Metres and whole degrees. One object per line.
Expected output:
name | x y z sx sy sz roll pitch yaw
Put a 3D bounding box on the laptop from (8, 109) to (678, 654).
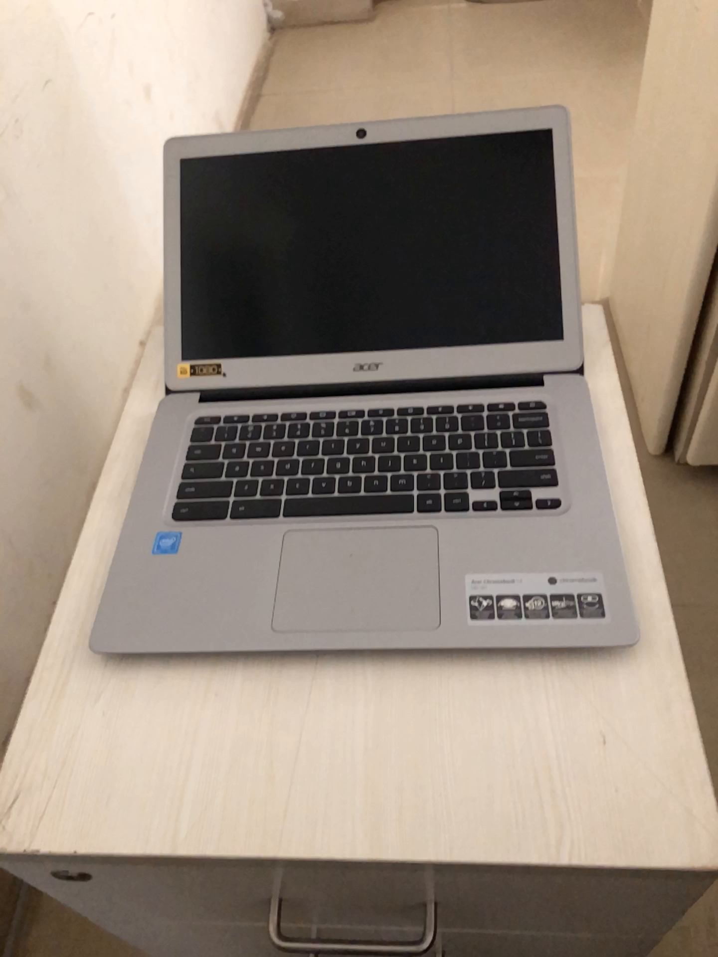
laptop | 0.001 -0.092 0.568 0.332 0.125 0.410 -2 50 6
